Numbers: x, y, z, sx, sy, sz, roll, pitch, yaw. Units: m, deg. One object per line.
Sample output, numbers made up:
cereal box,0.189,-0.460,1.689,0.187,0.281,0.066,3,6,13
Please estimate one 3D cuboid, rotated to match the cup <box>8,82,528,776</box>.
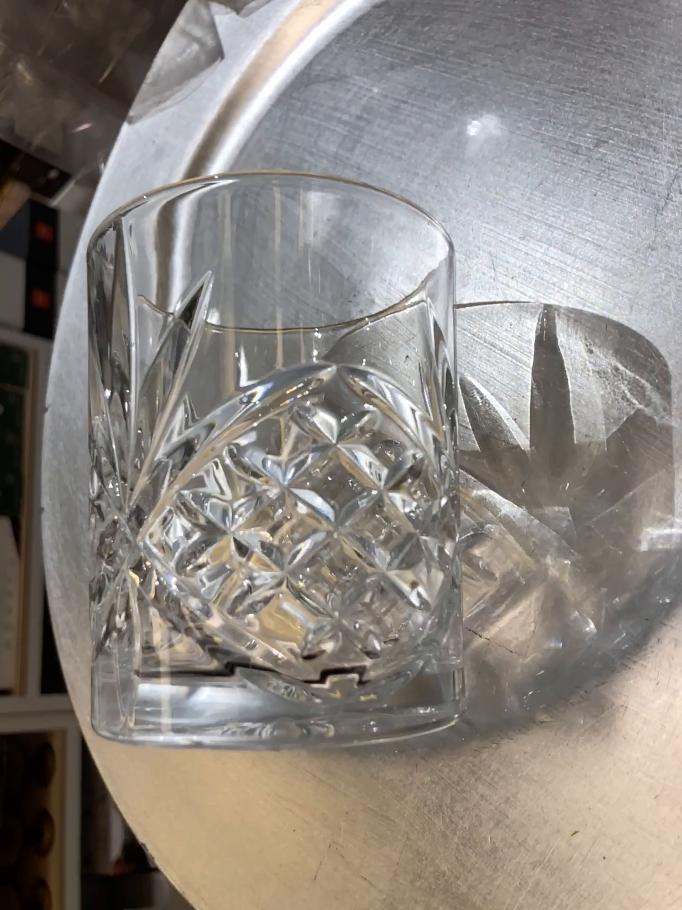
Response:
cup,-0.018,0.002,0.155,0.080,0.060,0.100,-14,73,42
